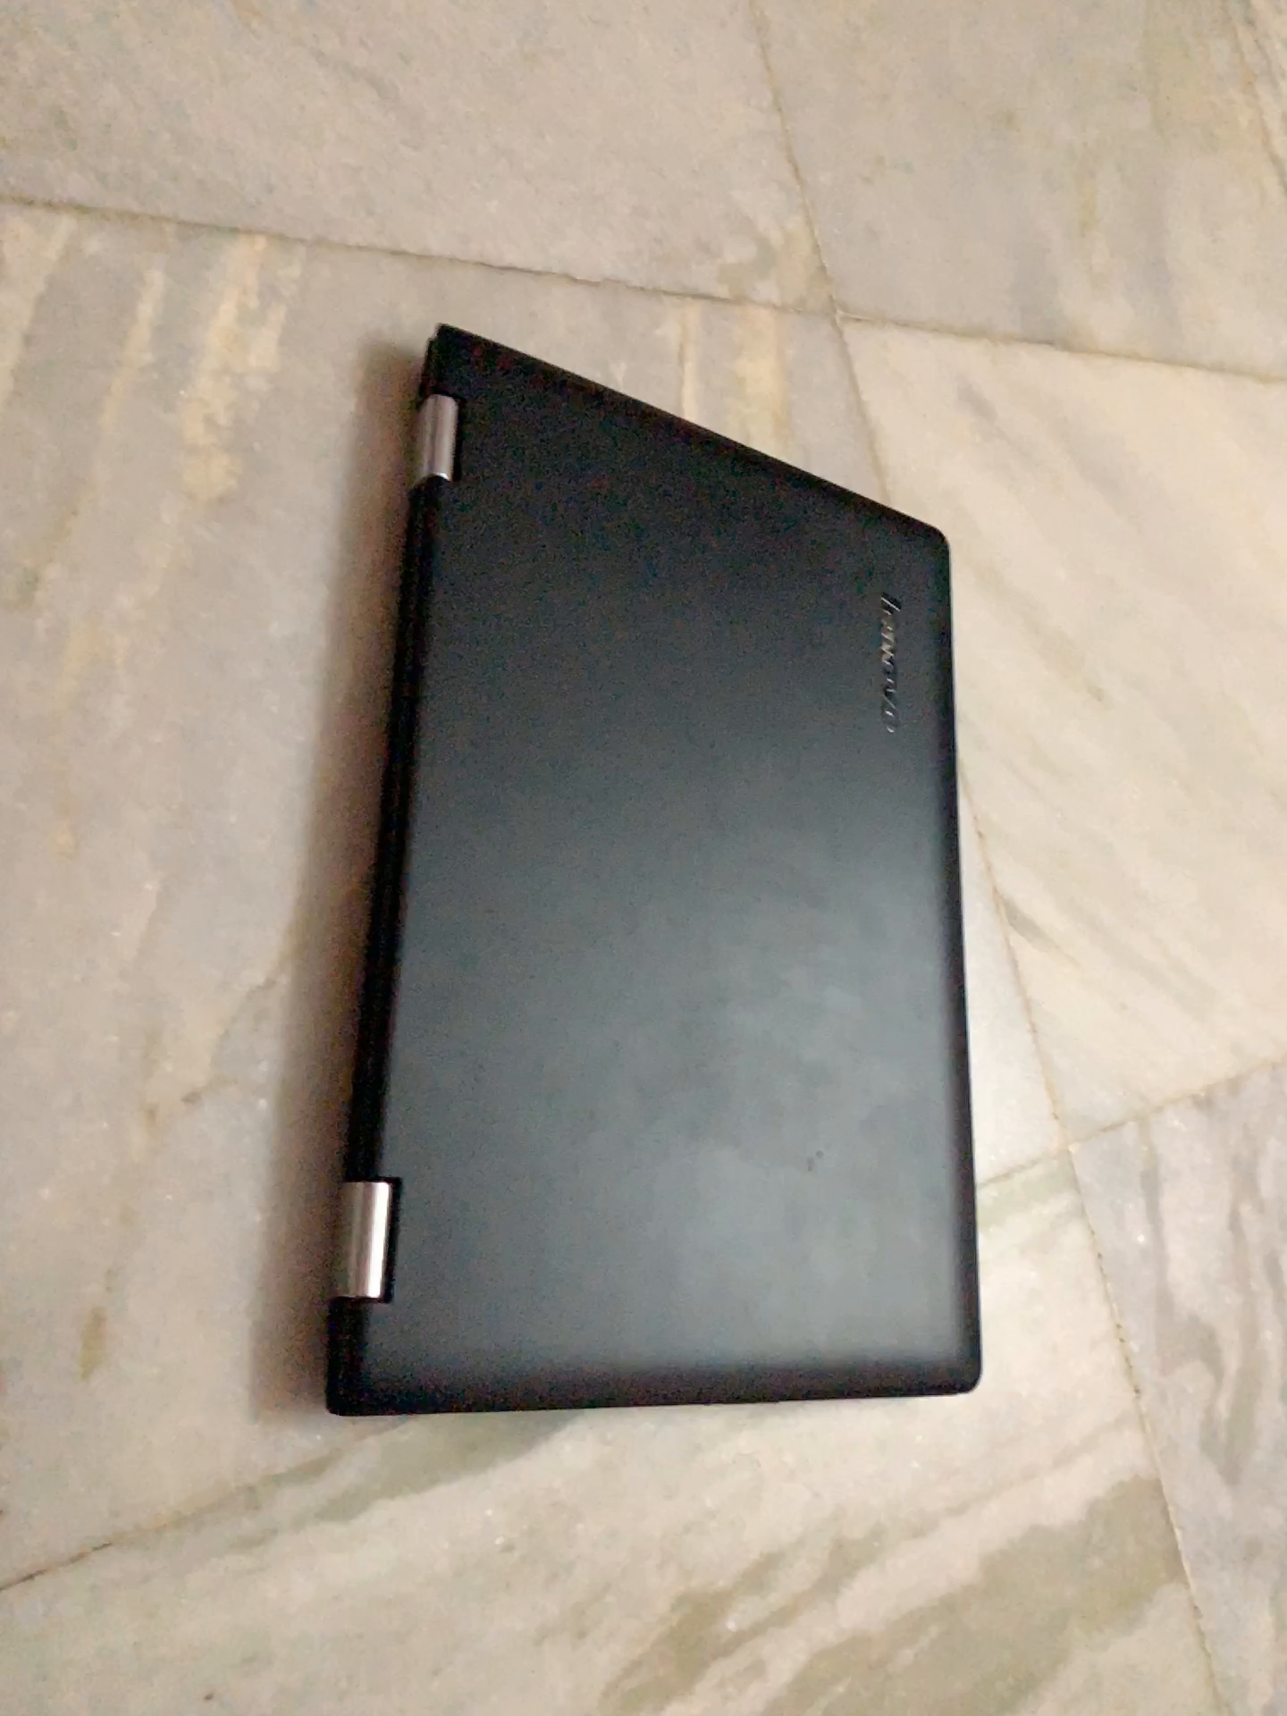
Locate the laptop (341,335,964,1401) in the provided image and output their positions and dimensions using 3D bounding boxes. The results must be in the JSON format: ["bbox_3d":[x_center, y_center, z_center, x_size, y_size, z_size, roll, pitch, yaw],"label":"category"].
[{"bbox_3d":[0.022,0.004,0.443,0.224,0.001,0.325,12,71,-31],"label":"laptop"}]
